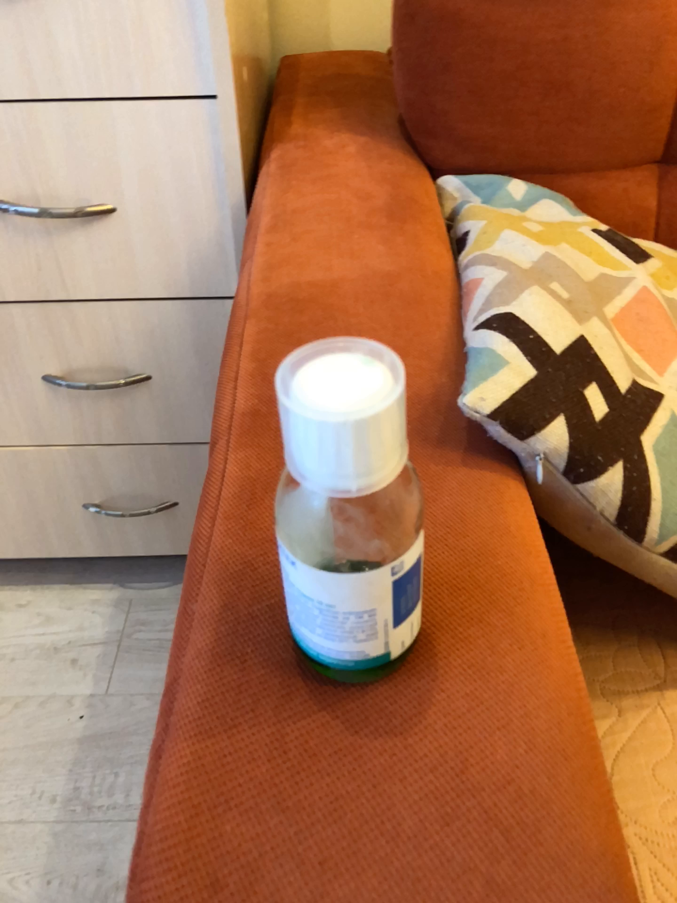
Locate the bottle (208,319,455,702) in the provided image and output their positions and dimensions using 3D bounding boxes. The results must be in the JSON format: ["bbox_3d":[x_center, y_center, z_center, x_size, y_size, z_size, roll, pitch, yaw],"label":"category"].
[{"bbox_3d":[-0.001,0.021,0.237,0.060,0.106,0.060,-1,39,1],"label":"bottle"}]
